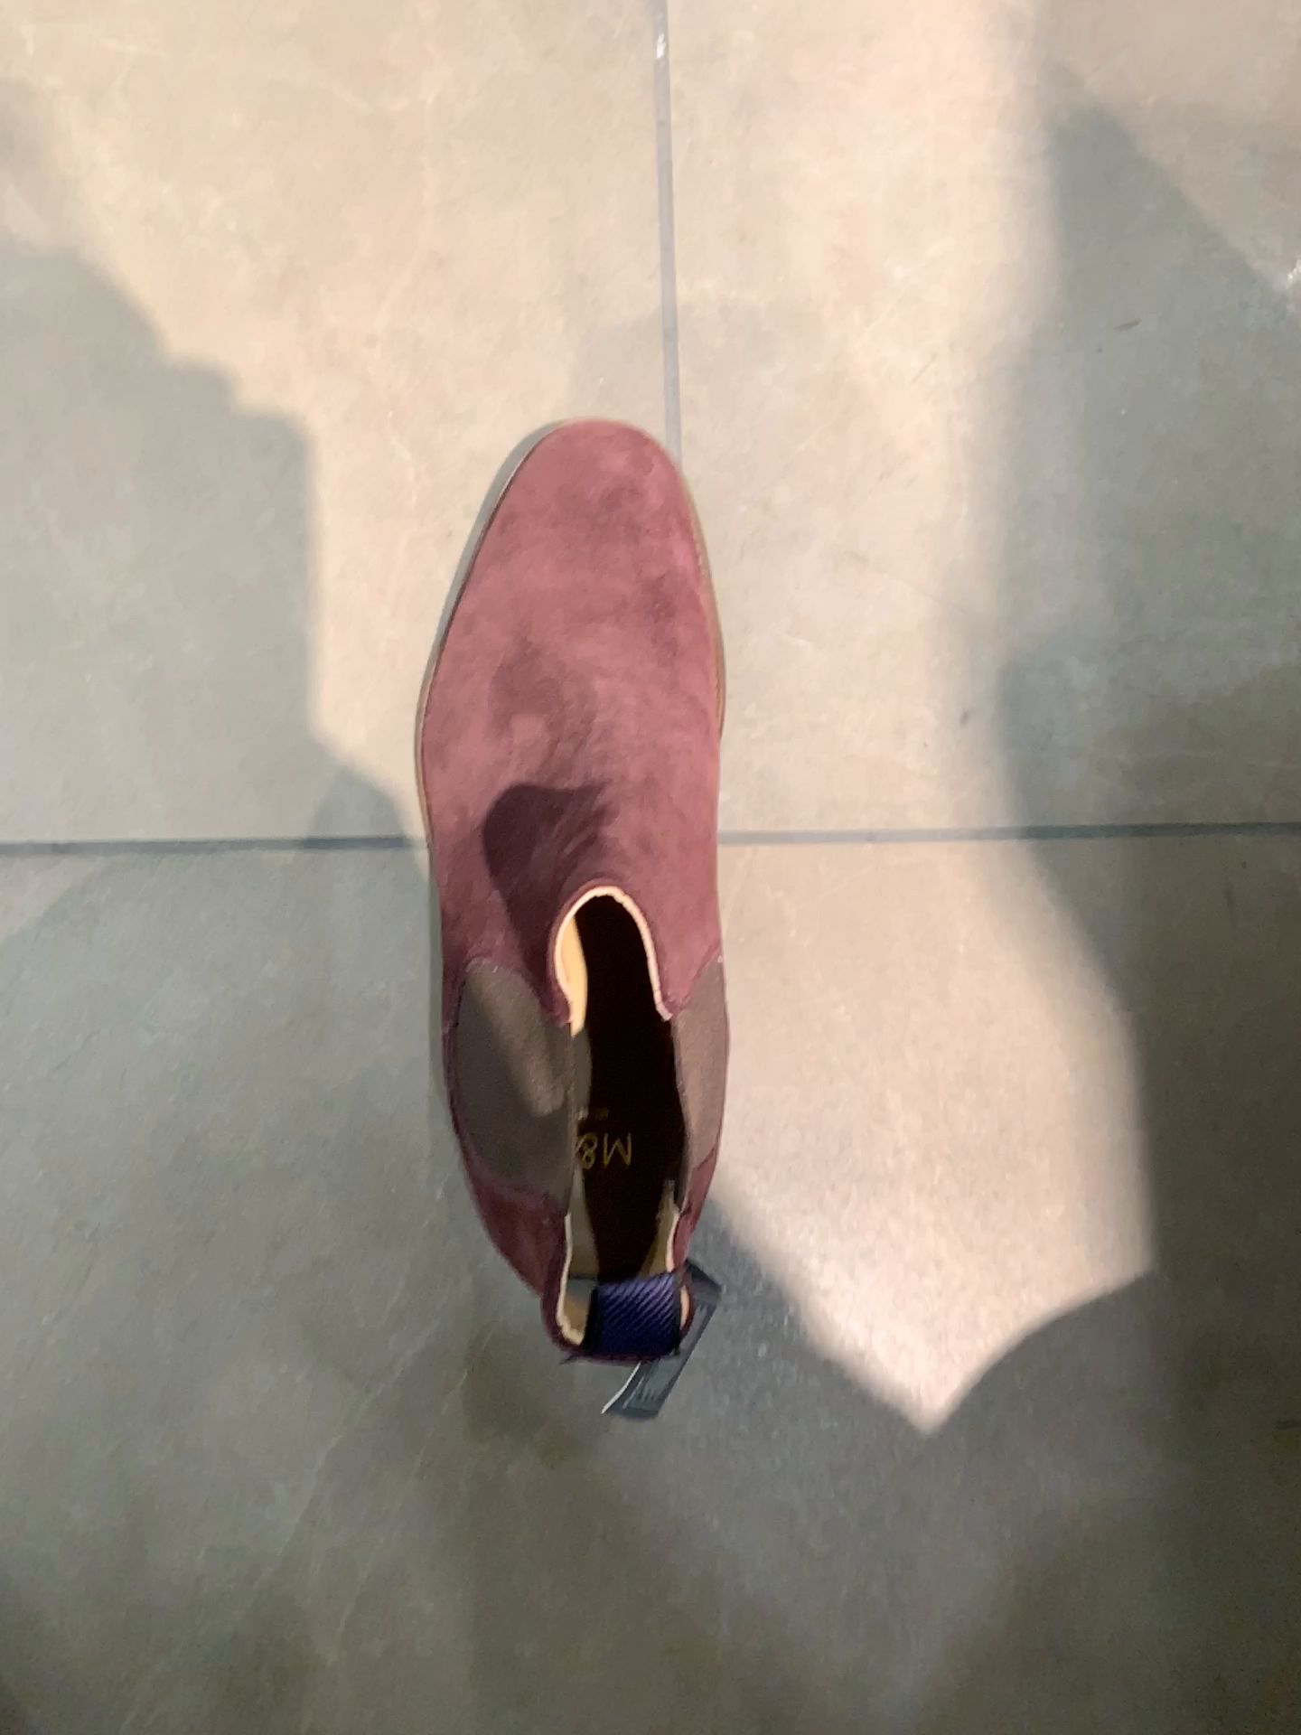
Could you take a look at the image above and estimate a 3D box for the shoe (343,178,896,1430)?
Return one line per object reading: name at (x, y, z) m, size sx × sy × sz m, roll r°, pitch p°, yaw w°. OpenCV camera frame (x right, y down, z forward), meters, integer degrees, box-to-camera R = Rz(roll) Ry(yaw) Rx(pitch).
shoe at (-0.017, -0.016, 0.397) m, size 0.114 × 0.162 × 0.298 m, roll -3°, pitch 81°, yaw -4°
